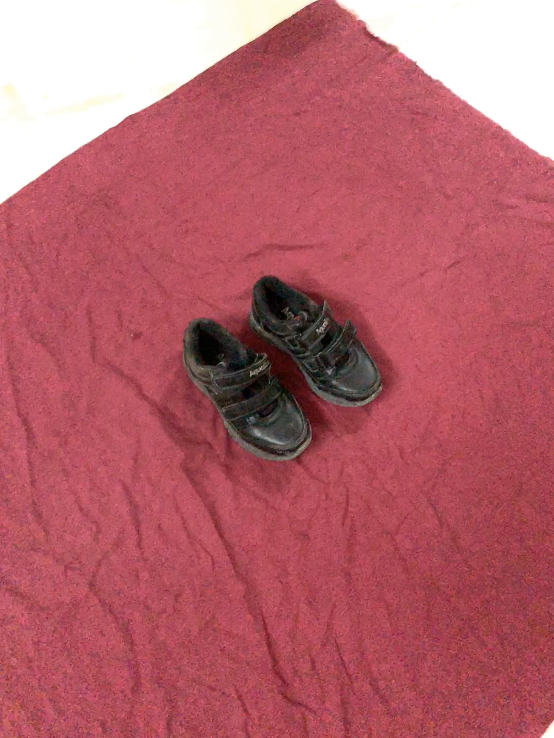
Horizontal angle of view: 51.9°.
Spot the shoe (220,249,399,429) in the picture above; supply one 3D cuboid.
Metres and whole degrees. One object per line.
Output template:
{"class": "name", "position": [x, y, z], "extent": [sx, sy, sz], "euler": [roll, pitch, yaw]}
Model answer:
{"class": "shoe", "position": [0.033, -0.035, 0.667], "extent": [0.070, 0.070, 0.210], "euler": [-42, 75, -14]}

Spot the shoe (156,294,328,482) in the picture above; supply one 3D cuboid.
{"class": "shoe", "position": [-0.041, 0.021, 0.653], "extent": [0.070, 0.070, 0.210], "euler": [-39, 74, -13]}
